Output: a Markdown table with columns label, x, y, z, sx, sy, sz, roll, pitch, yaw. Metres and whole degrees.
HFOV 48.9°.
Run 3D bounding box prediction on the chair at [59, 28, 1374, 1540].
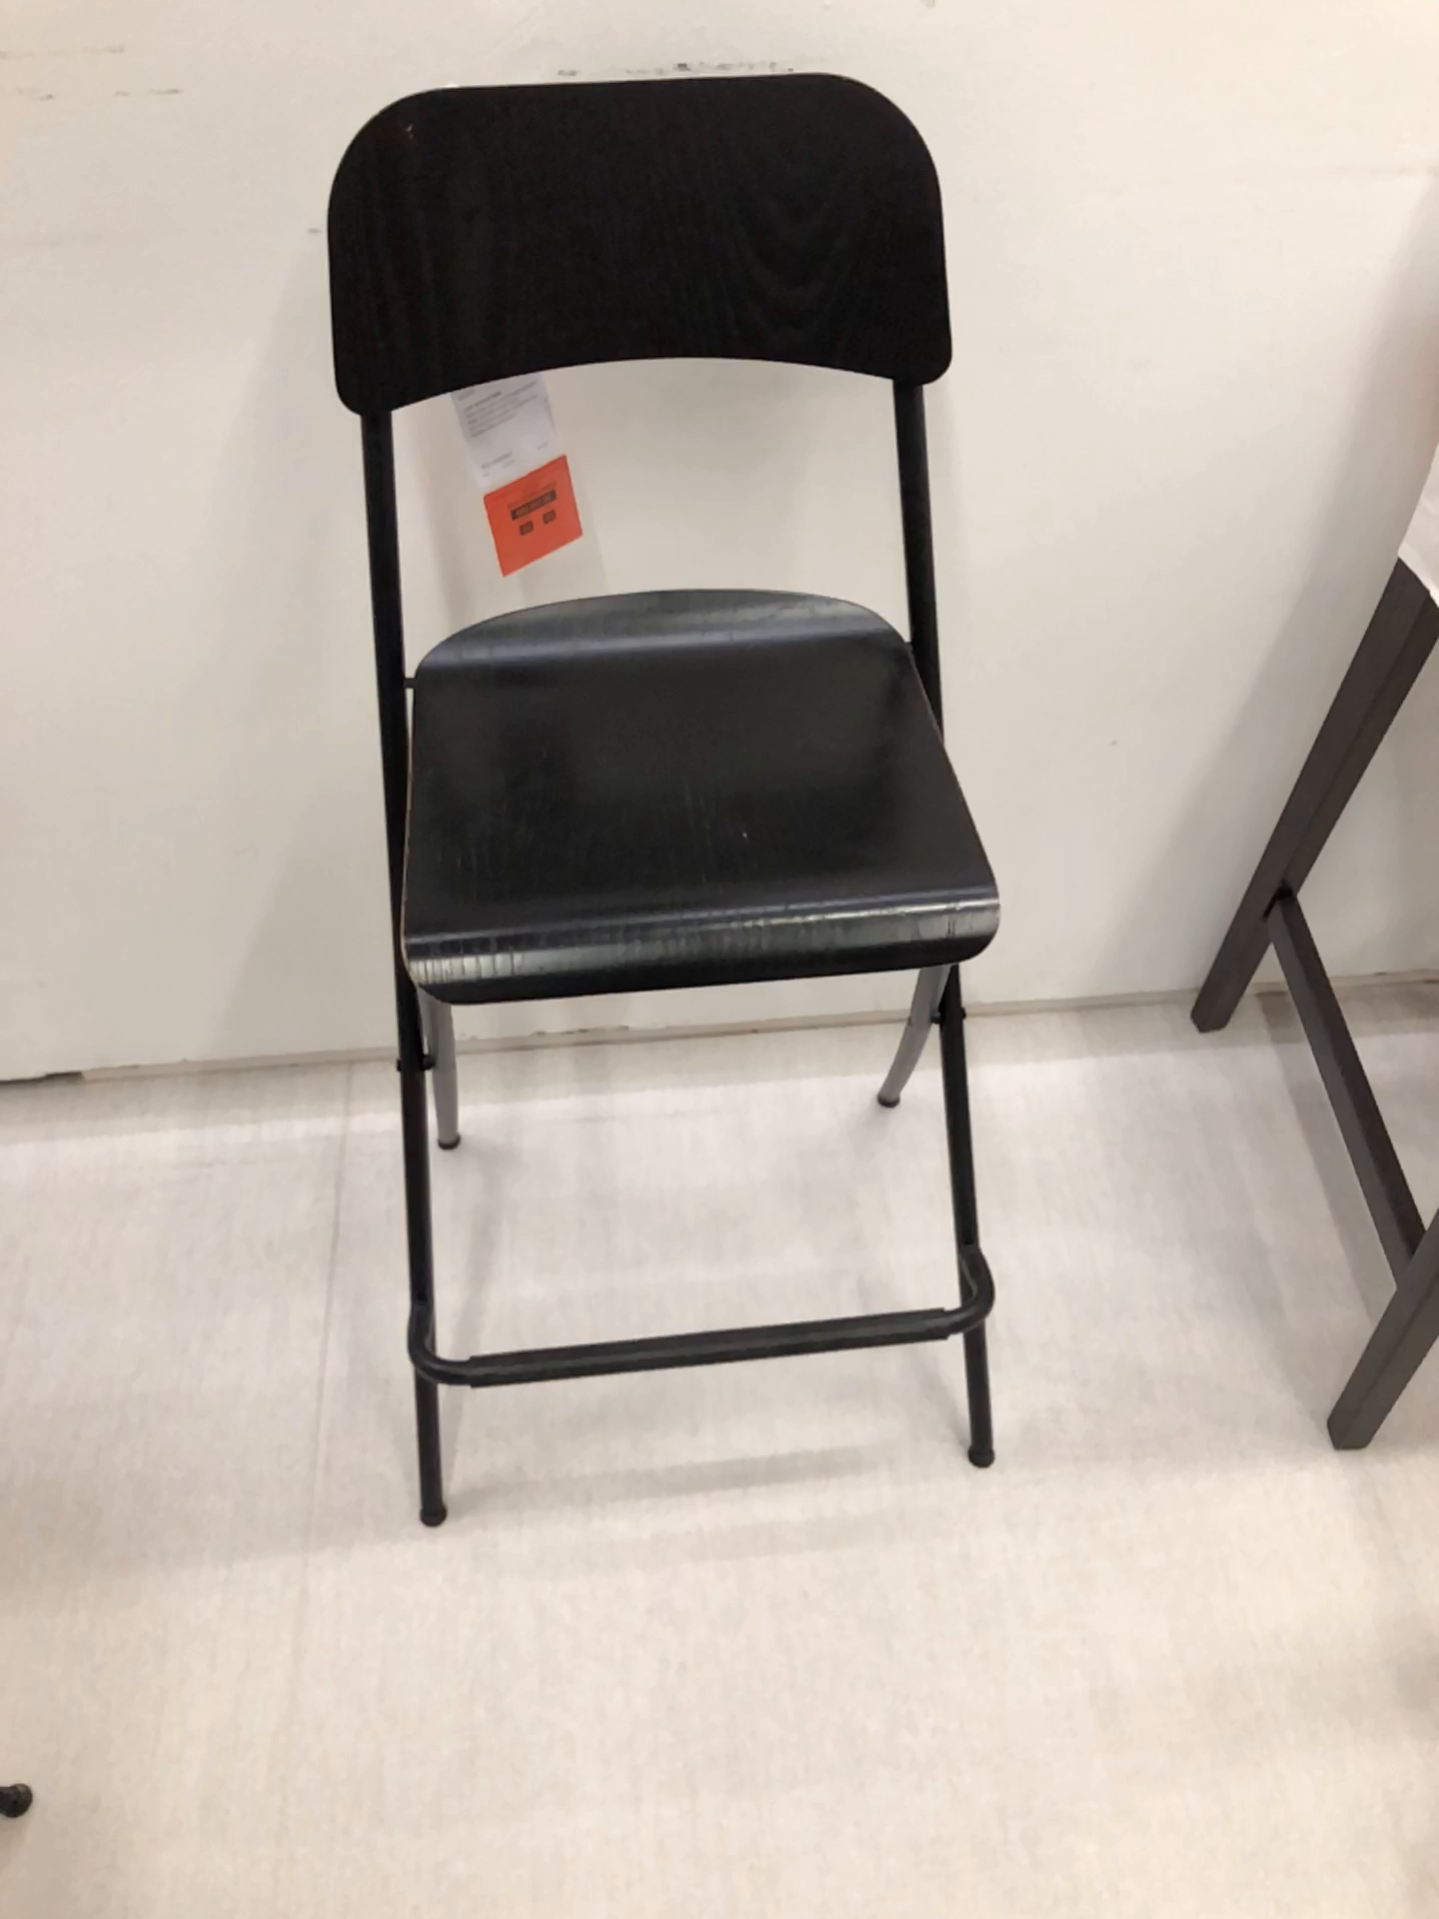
| label | x | y | z | sx | sy | sz | roll | pitch | yaw |
| --- | --- | --- | --- | --- | --- | --- | --- | --- | --- |
| chair | -0.016 | -0.047 | 1.071 | 0.490 | 0.885 | 0.473 | -5 | 48 | -4 |
